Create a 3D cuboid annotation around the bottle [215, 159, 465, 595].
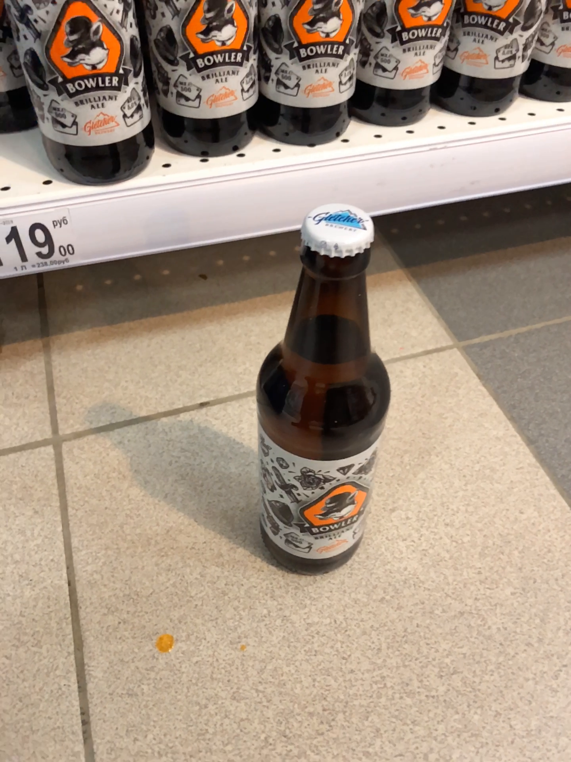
[{"bbox_3d":[0.017,0.018,0.333,0.074,0.239,0.070,0,48,0],"label":"bottle"}]
